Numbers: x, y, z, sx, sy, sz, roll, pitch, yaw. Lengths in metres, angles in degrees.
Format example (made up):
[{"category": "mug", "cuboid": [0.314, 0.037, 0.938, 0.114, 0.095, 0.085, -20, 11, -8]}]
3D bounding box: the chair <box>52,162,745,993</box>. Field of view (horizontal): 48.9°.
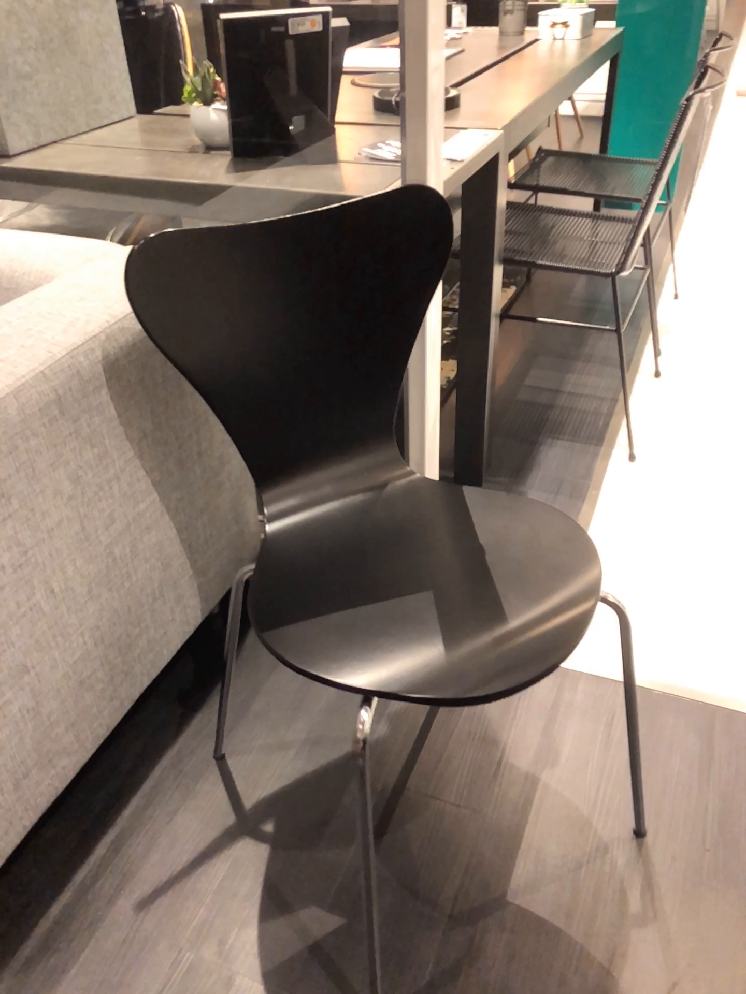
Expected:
[{"category": "chair", "cuboid": [0.033, 0.107, 0.978, 0.491, 0.804, 0.503, -22, 39, -26]}]
